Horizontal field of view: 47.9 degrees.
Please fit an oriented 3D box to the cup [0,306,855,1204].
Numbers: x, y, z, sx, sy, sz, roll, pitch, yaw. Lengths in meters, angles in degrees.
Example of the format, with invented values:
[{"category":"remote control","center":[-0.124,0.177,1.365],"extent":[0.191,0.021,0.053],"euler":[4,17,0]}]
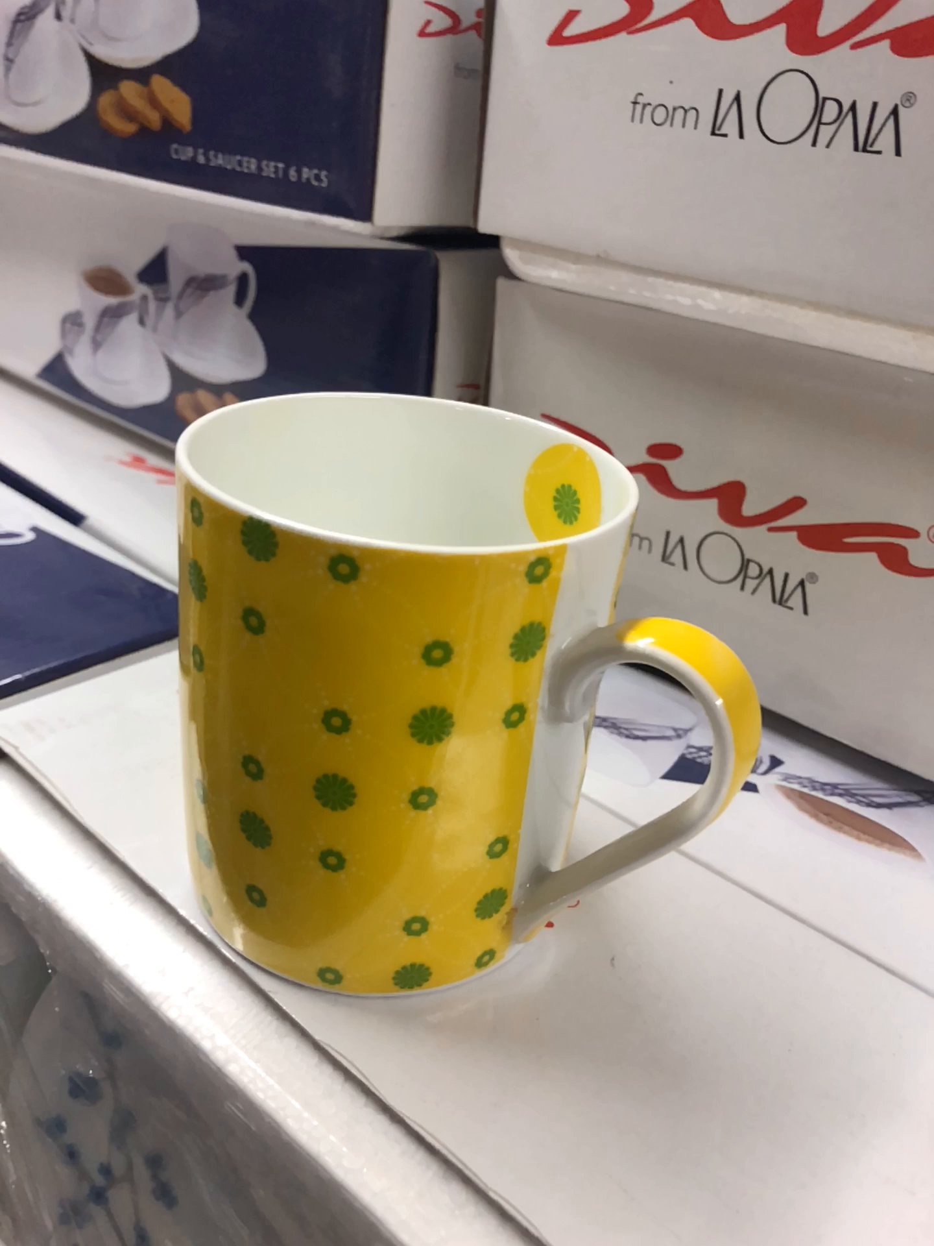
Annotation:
[{"category":"cup","center":[-0.009,0.007,0.155],"extent":[0.090,0.080,0.070],"euler":[25,34,33]}]
